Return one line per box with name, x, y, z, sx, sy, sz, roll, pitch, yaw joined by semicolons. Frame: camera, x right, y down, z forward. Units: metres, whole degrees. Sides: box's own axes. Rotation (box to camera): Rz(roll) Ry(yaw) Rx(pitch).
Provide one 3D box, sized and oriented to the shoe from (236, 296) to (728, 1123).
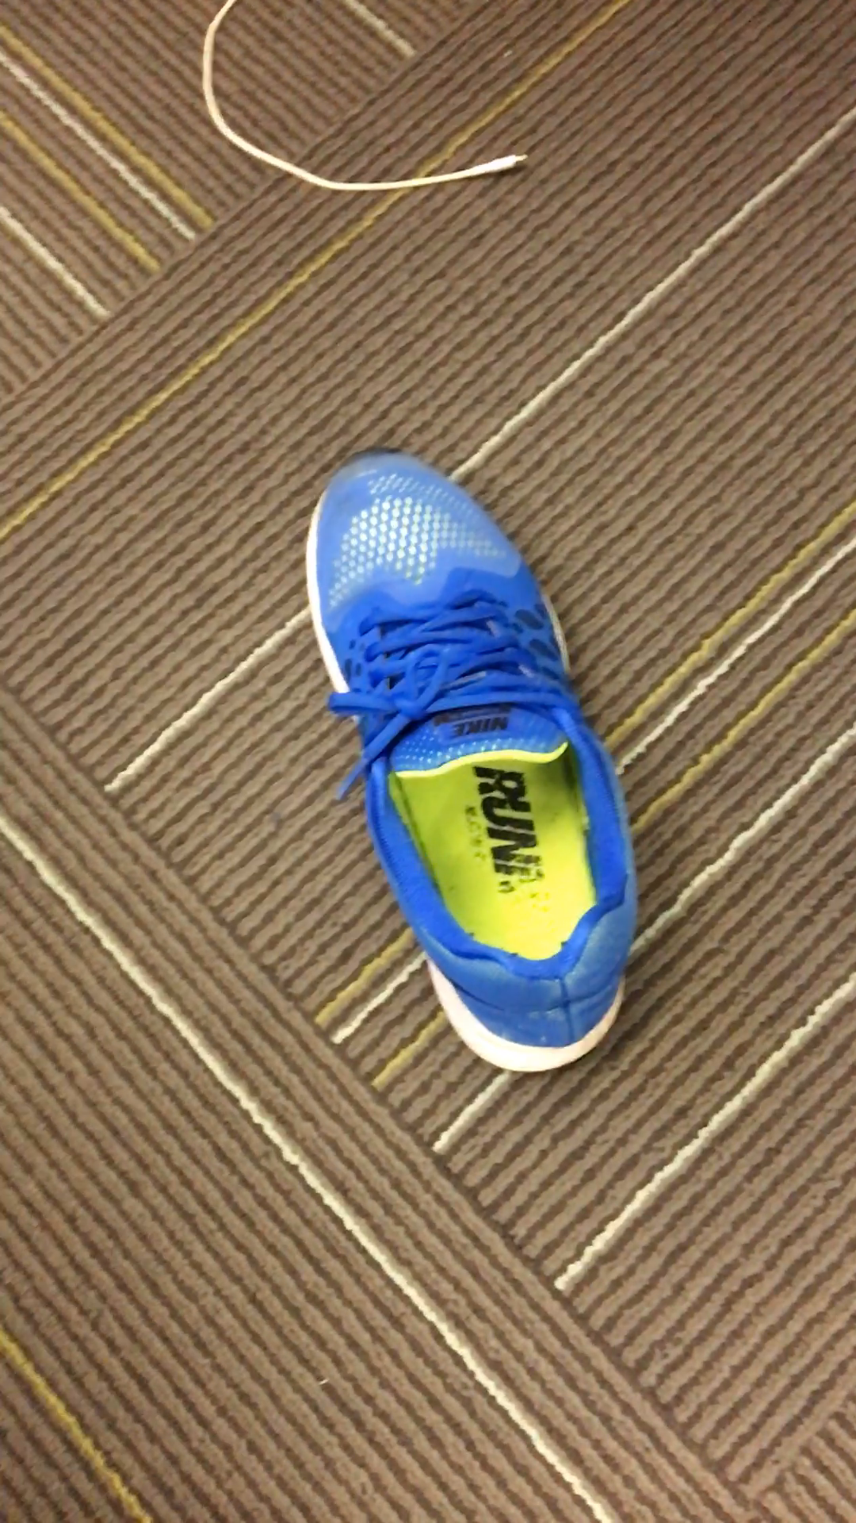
shoe;0.017;-0.014;0.556;0.110;0.150;0.310;-15;75;-1
